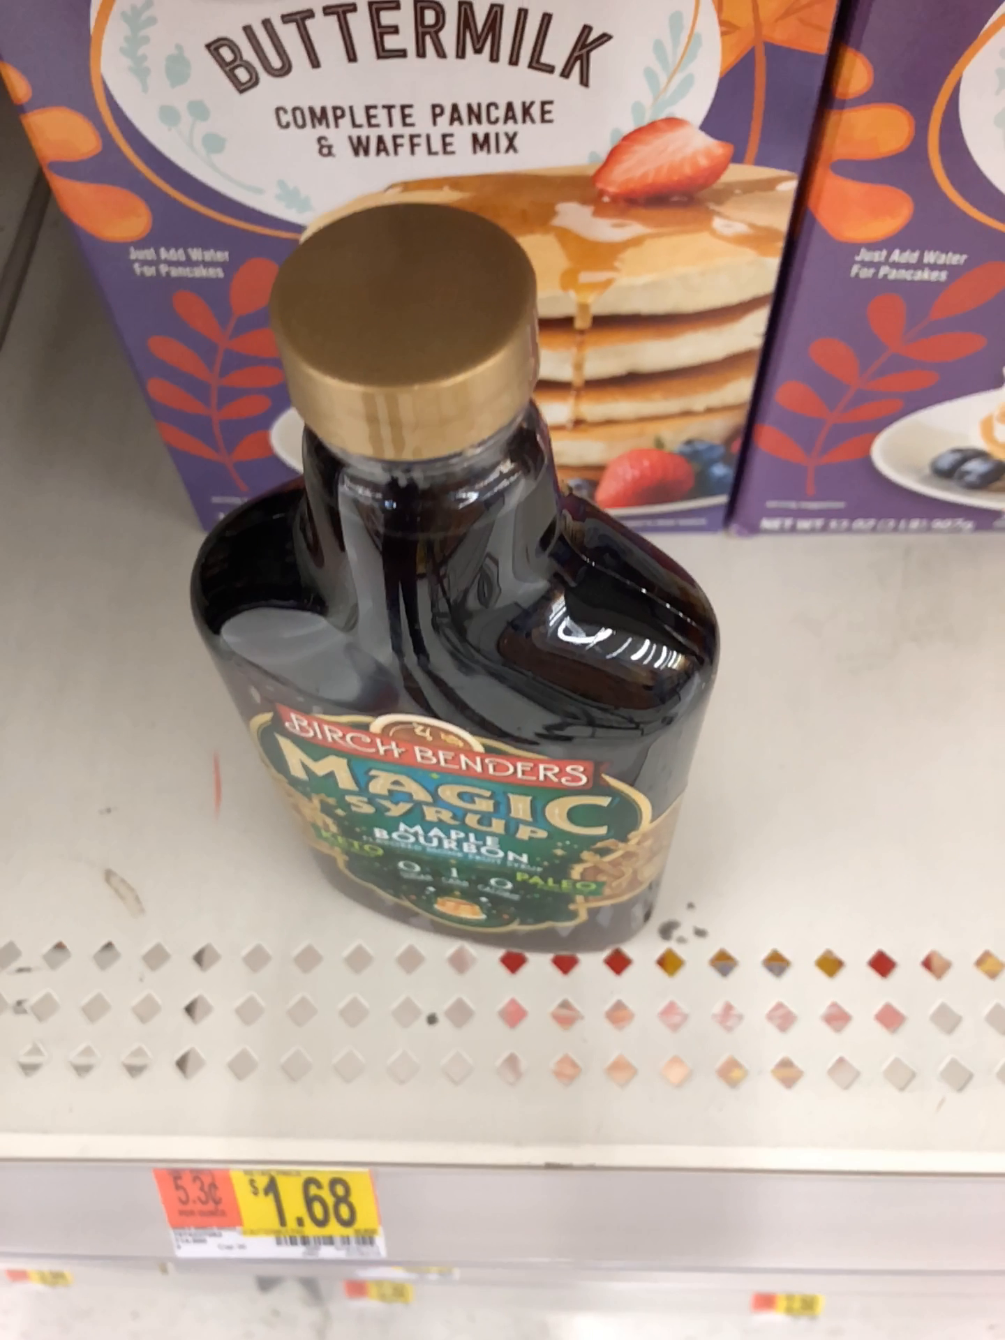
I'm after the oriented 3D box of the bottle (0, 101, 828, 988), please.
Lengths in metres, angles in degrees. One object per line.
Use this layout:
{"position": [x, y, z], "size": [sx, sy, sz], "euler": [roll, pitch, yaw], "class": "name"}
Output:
{"position": [-0.013, 0.001, 0.204], "size": [0.100, 0.180, 0.050], "euler": [10, 62, 8], "class": "bottle"}
